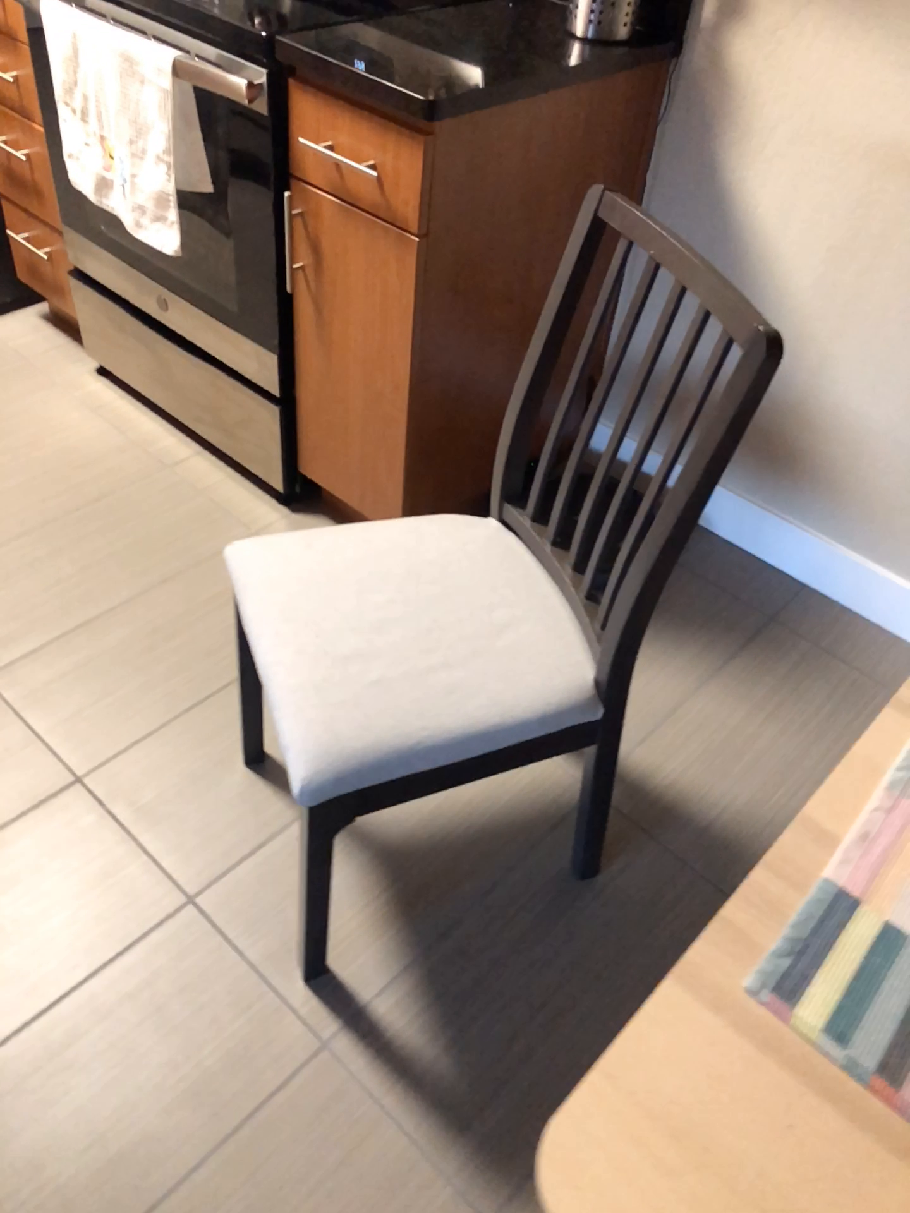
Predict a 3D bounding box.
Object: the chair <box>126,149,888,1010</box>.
[{"bbox_3d":[-0.027,-0.036,1.287,0.591,0.846,0.582,-10,45,-18],"label":"chair"}]
